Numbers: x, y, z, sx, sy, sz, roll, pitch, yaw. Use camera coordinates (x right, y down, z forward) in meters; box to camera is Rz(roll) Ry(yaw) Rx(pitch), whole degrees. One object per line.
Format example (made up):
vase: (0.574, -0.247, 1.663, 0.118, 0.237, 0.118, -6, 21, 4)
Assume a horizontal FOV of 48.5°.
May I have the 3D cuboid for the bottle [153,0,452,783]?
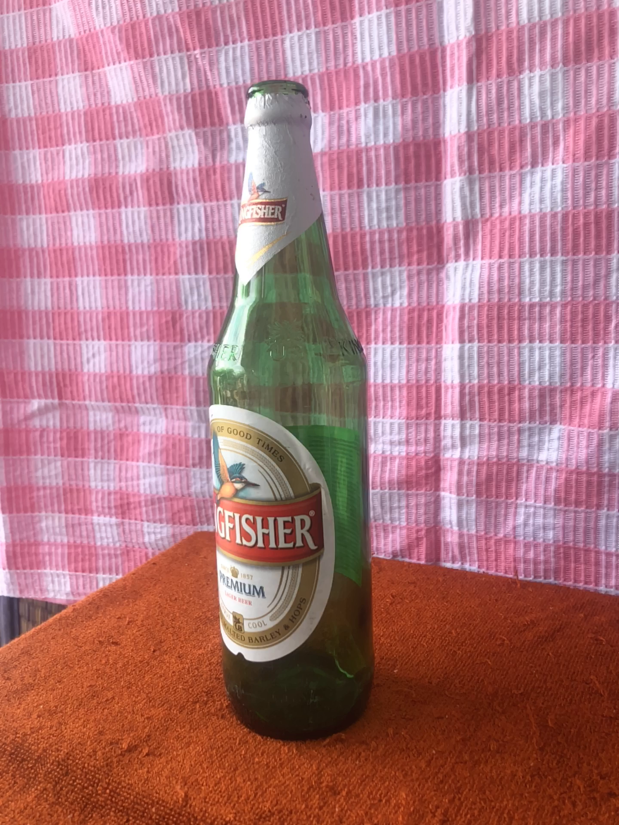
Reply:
bottle: (-0.001, -0.005, 0.306, 0.080, 0.289, 0.090, -13, 17, -43)
